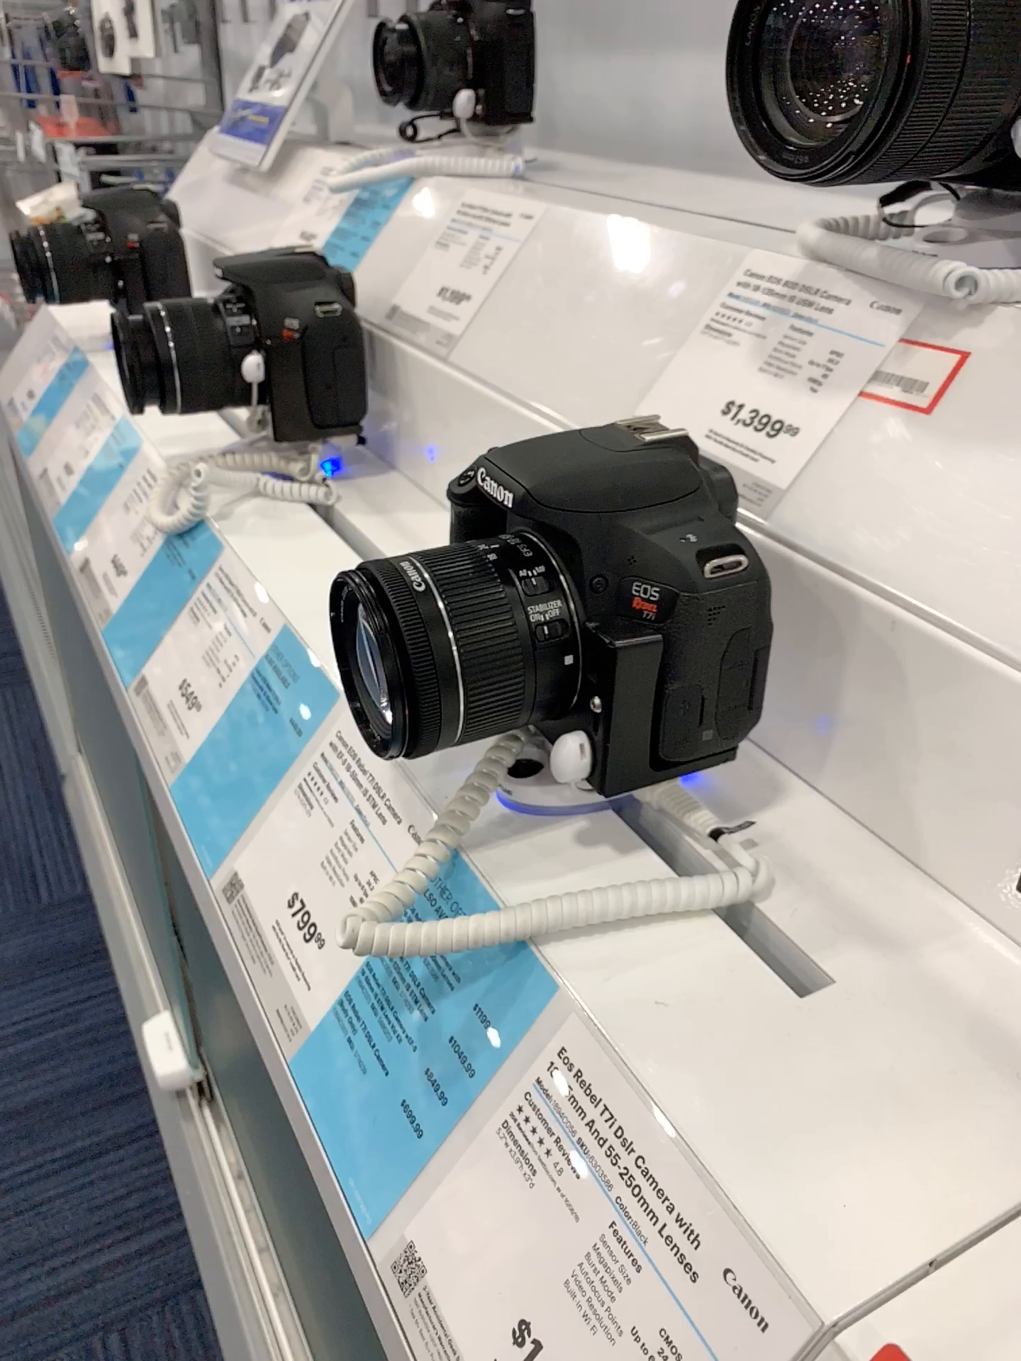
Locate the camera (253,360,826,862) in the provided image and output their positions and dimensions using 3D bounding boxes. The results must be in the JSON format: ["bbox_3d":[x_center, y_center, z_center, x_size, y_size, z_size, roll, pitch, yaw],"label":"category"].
[{"bbox_3d":[0.001,-0.037,0.360,0.130,0.099,0.141,-13,33,-24],"label":"camera"}]
